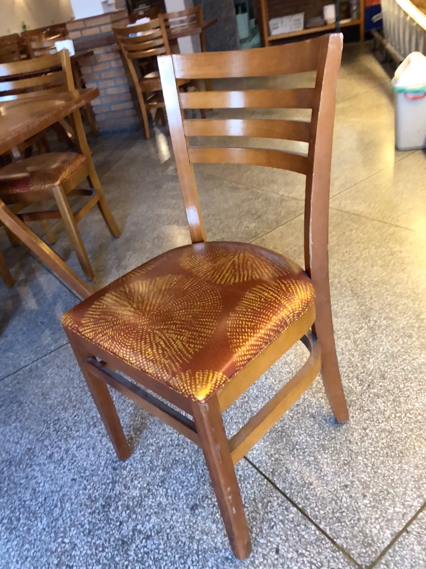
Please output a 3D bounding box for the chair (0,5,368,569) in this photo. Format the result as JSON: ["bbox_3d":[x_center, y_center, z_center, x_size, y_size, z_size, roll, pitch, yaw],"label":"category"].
[{"bbox_3d":[-0.025,0.004,0.919,0.452,0.844,0.472,17,42,40],"label":"chair"}]
